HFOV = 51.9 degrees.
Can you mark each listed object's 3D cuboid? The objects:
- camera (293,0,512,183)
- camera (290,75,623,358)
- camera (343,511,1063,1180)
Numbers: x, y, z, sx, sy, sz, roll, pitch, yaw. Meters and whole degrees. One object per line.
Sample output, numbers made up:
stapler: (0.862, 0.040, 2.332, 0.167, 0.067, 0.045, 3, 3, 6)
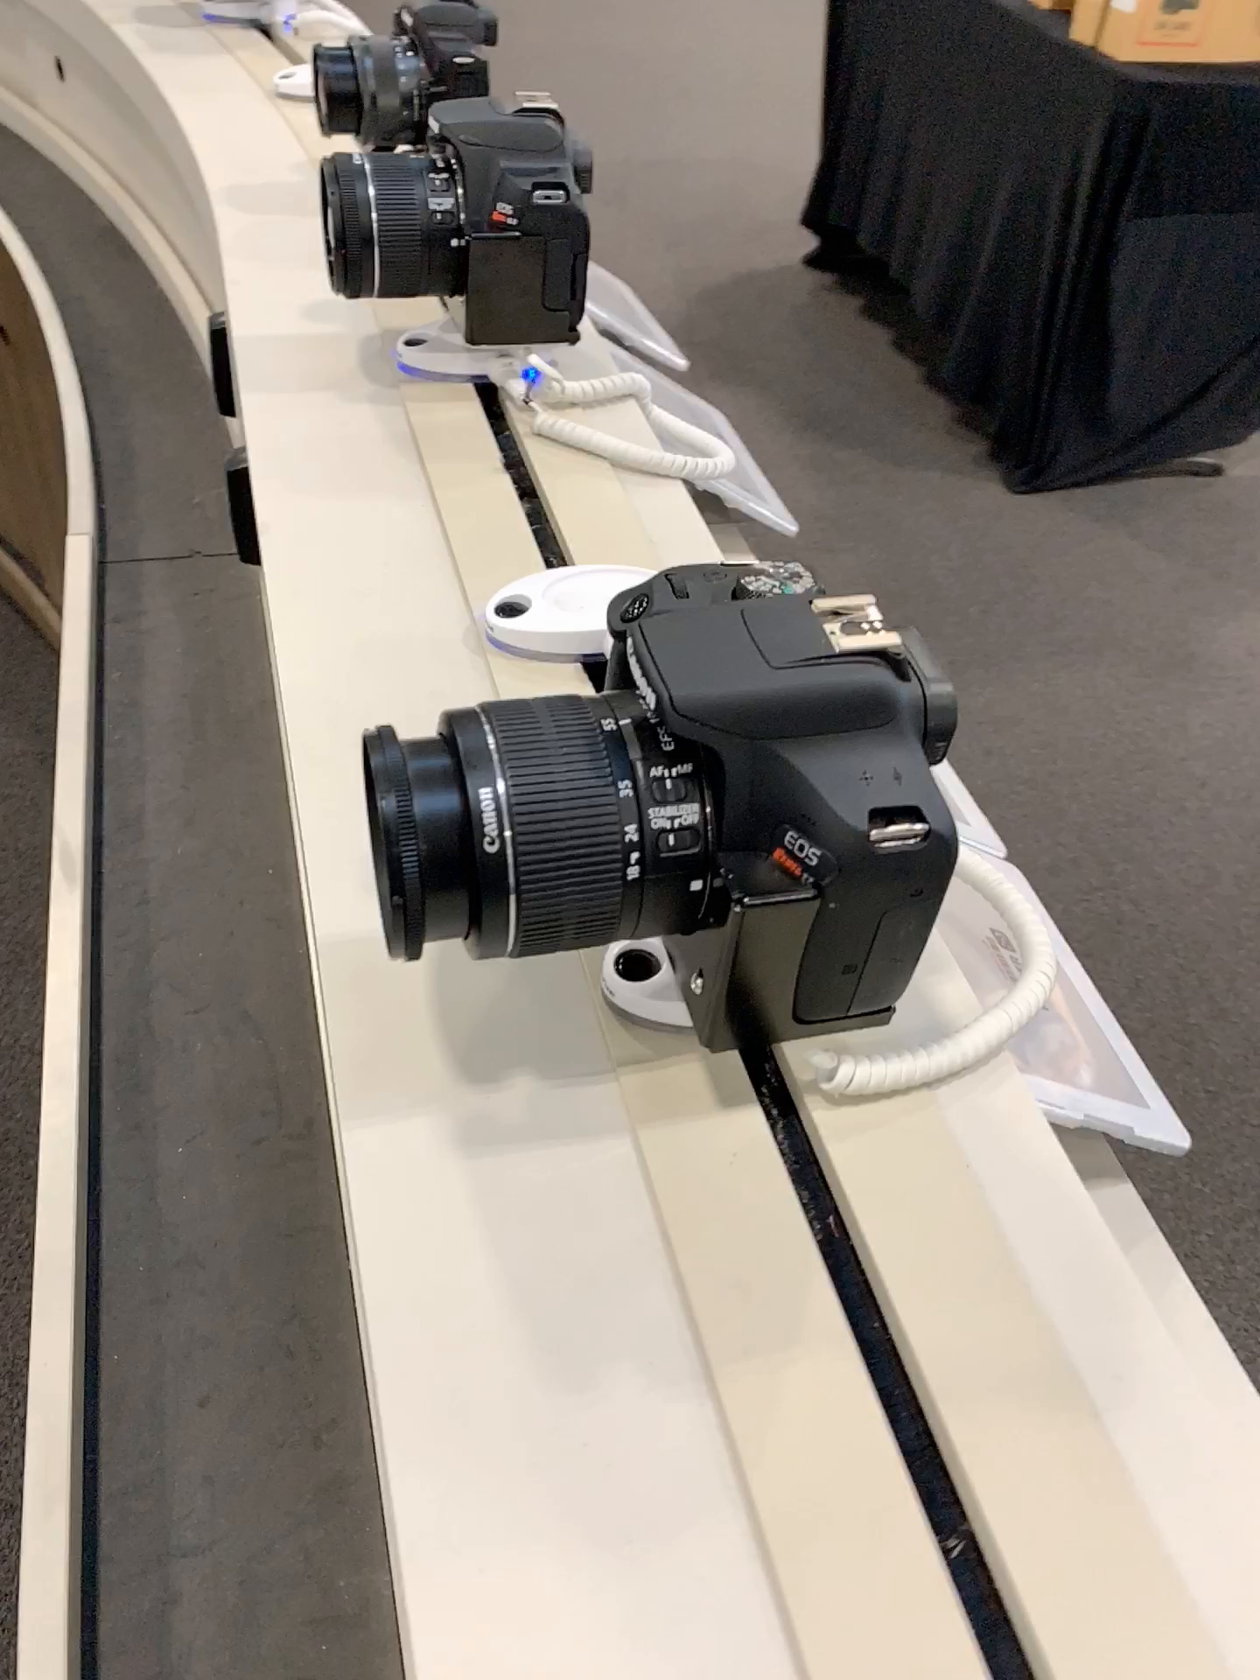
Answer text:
camera: (-0.145, -0.487, 0.825, 0.111, 0.088, 0.112, -11, 48, -17)
camera: (-0.091, -0.322, 0.663, 0.135, 0.089, 0.122, -11, 48, -17)
camera: (0.006, -0.005, 0.355, 0.145, 0.101, 0.134, -7, 47, -14)
